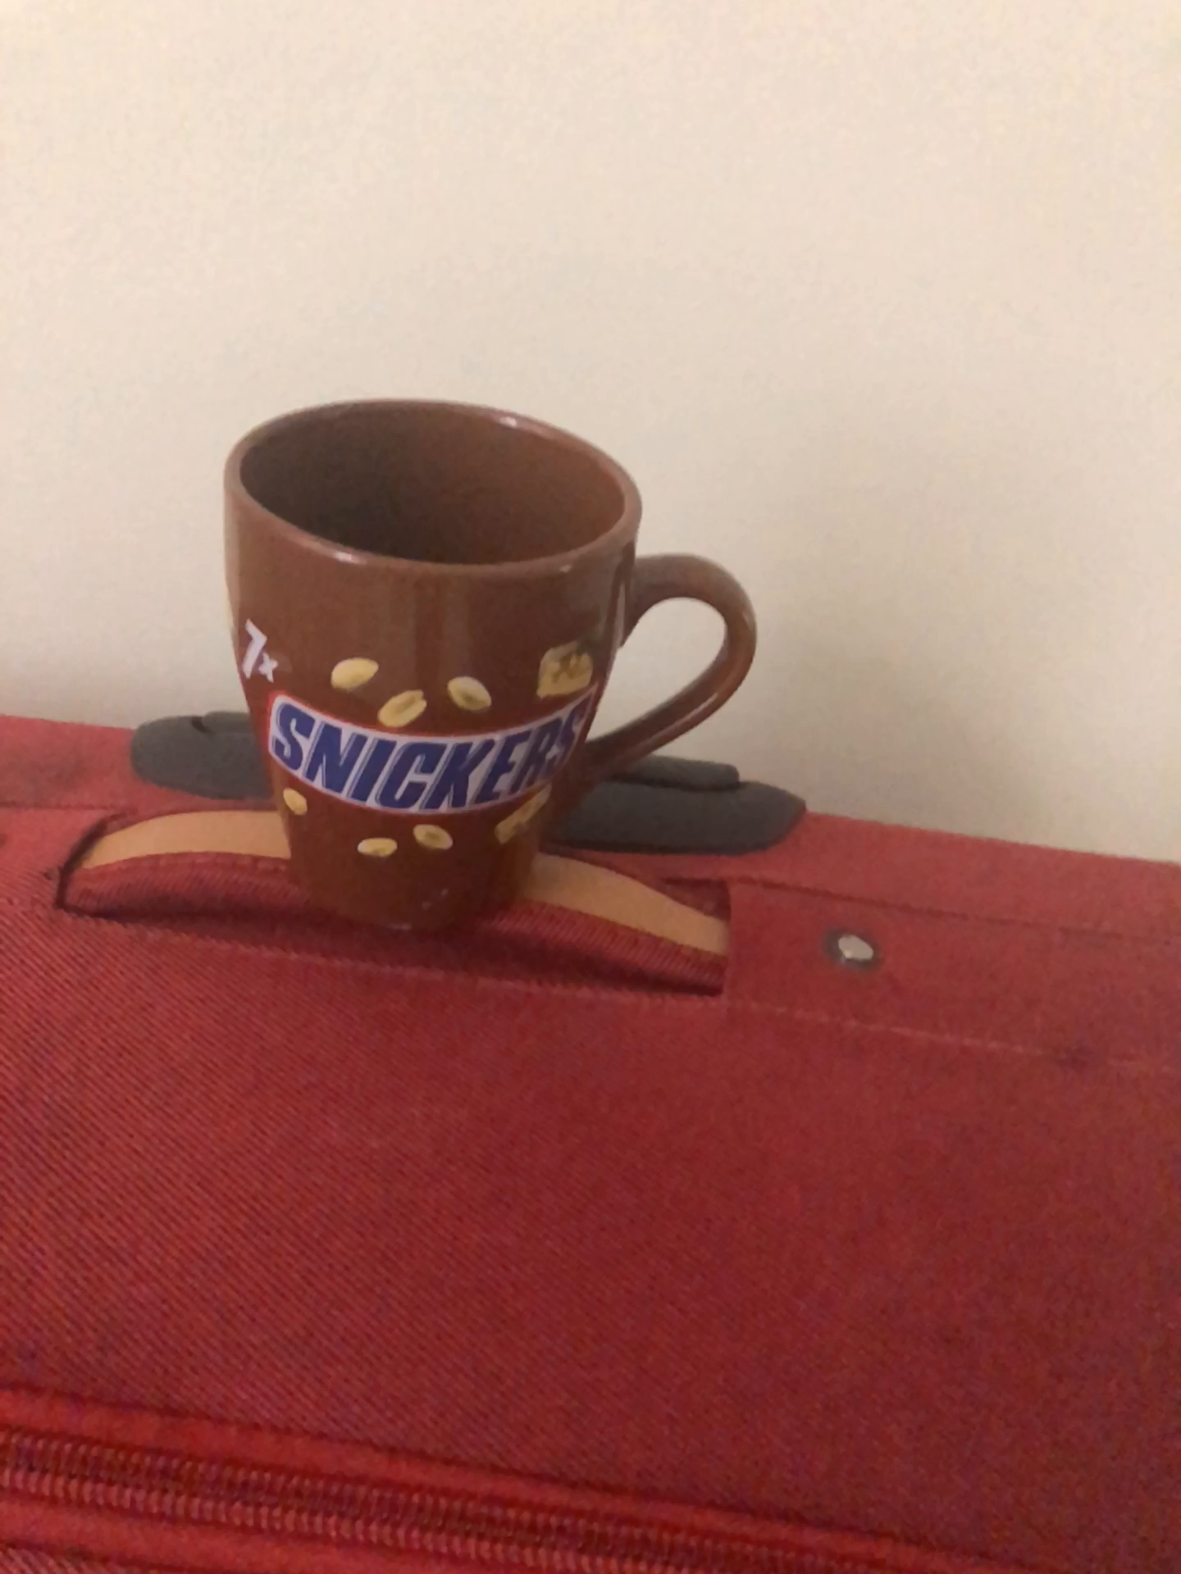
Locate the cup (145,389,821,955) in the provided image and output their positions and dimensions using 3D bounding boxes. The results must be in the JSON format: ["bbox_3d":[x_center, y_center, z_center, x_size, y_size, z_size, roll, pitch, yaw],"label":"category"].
[{"bbox_3d":[-0.020,-0.027,0.280,0.115,0.080,0.088,4,35,-1],"label":"cup"}]
